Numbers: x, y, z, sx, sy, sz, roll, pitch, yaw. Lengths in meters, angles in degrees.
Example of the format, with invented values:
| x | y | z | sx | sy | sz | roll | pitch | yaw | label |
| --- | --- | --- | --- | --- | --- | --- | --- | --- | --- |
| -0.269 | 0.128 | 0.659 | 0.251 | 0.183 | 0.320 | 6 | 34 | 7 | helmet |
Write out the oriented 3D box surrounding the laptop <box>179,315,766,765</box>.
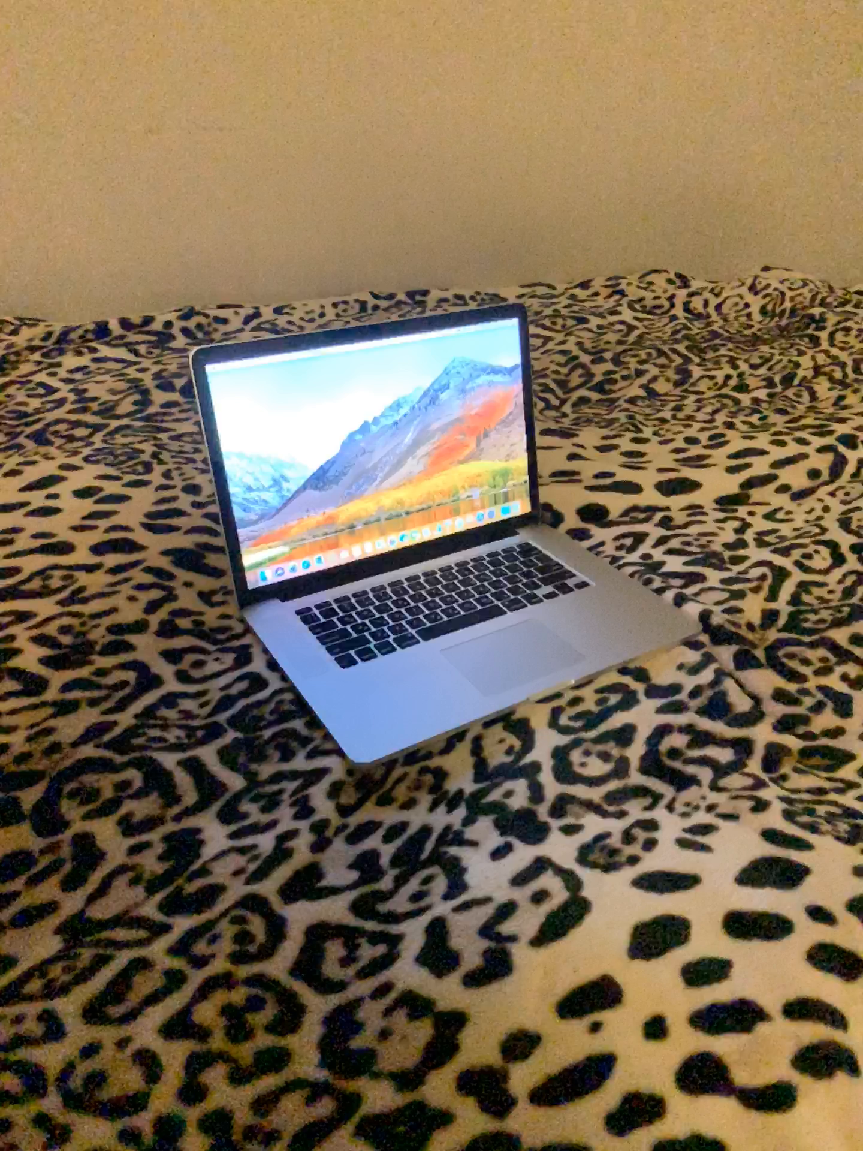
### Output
| x | y | z | sx | sy | sz | roll | pitch | yaw | label |
| --- | --- | --- | --- | --- | --- | --- | --- | --- | --- |
| 0.019 | -0.062 | 0.757 | 0.349 | 0.222 | 0.300 | -17 | 36 | -26 | laptop |
